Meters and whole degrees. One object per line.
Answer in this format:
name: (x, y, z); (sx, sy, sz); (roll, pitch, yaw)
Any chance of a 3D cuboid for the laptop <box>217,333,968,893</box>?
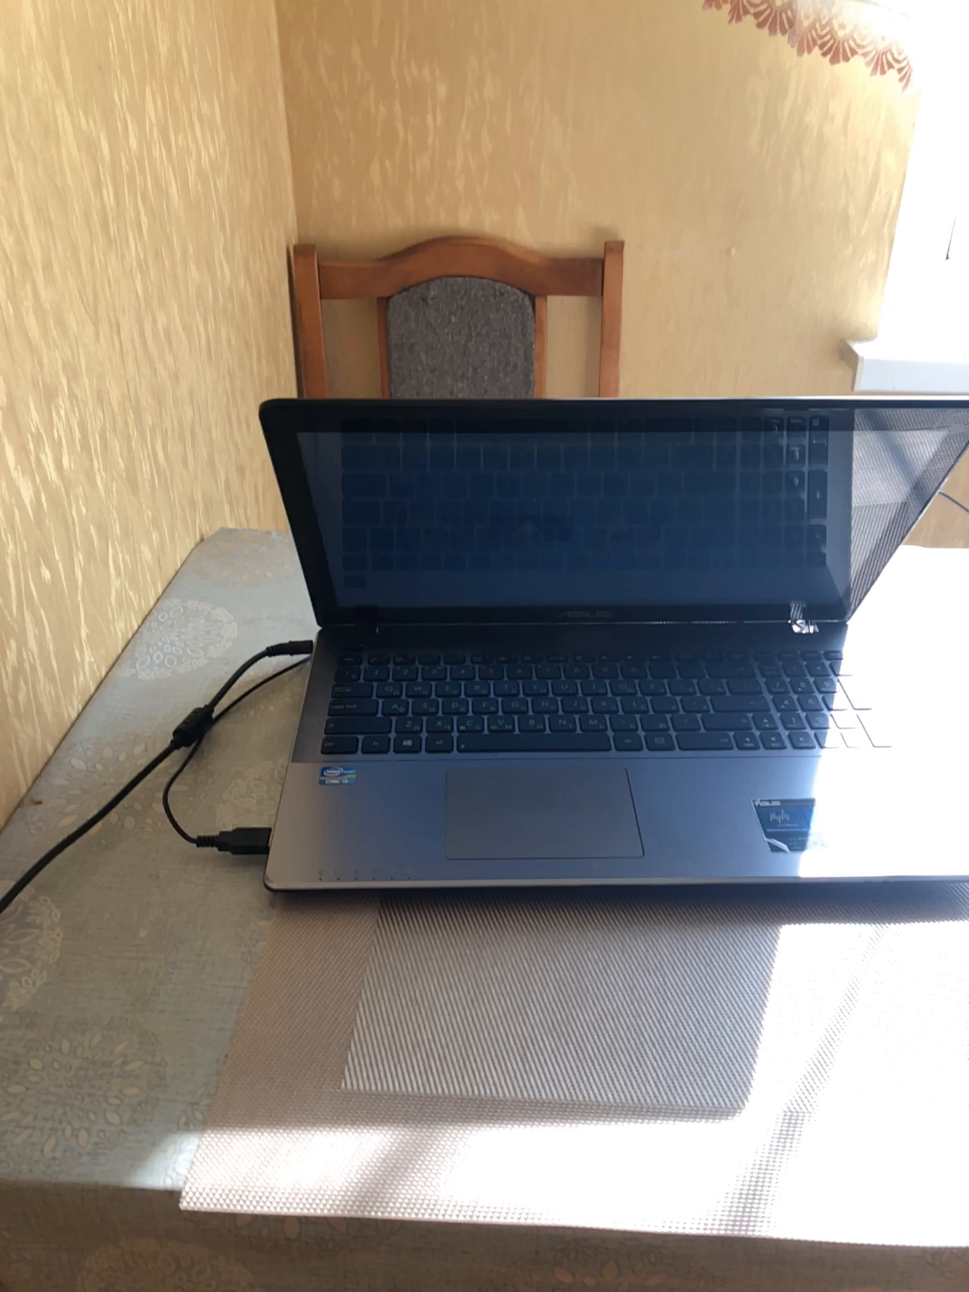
laptop: (0.073, -0.033, 0.584); (0.364, 0.197, 0.241); (-1, 32, -2)
